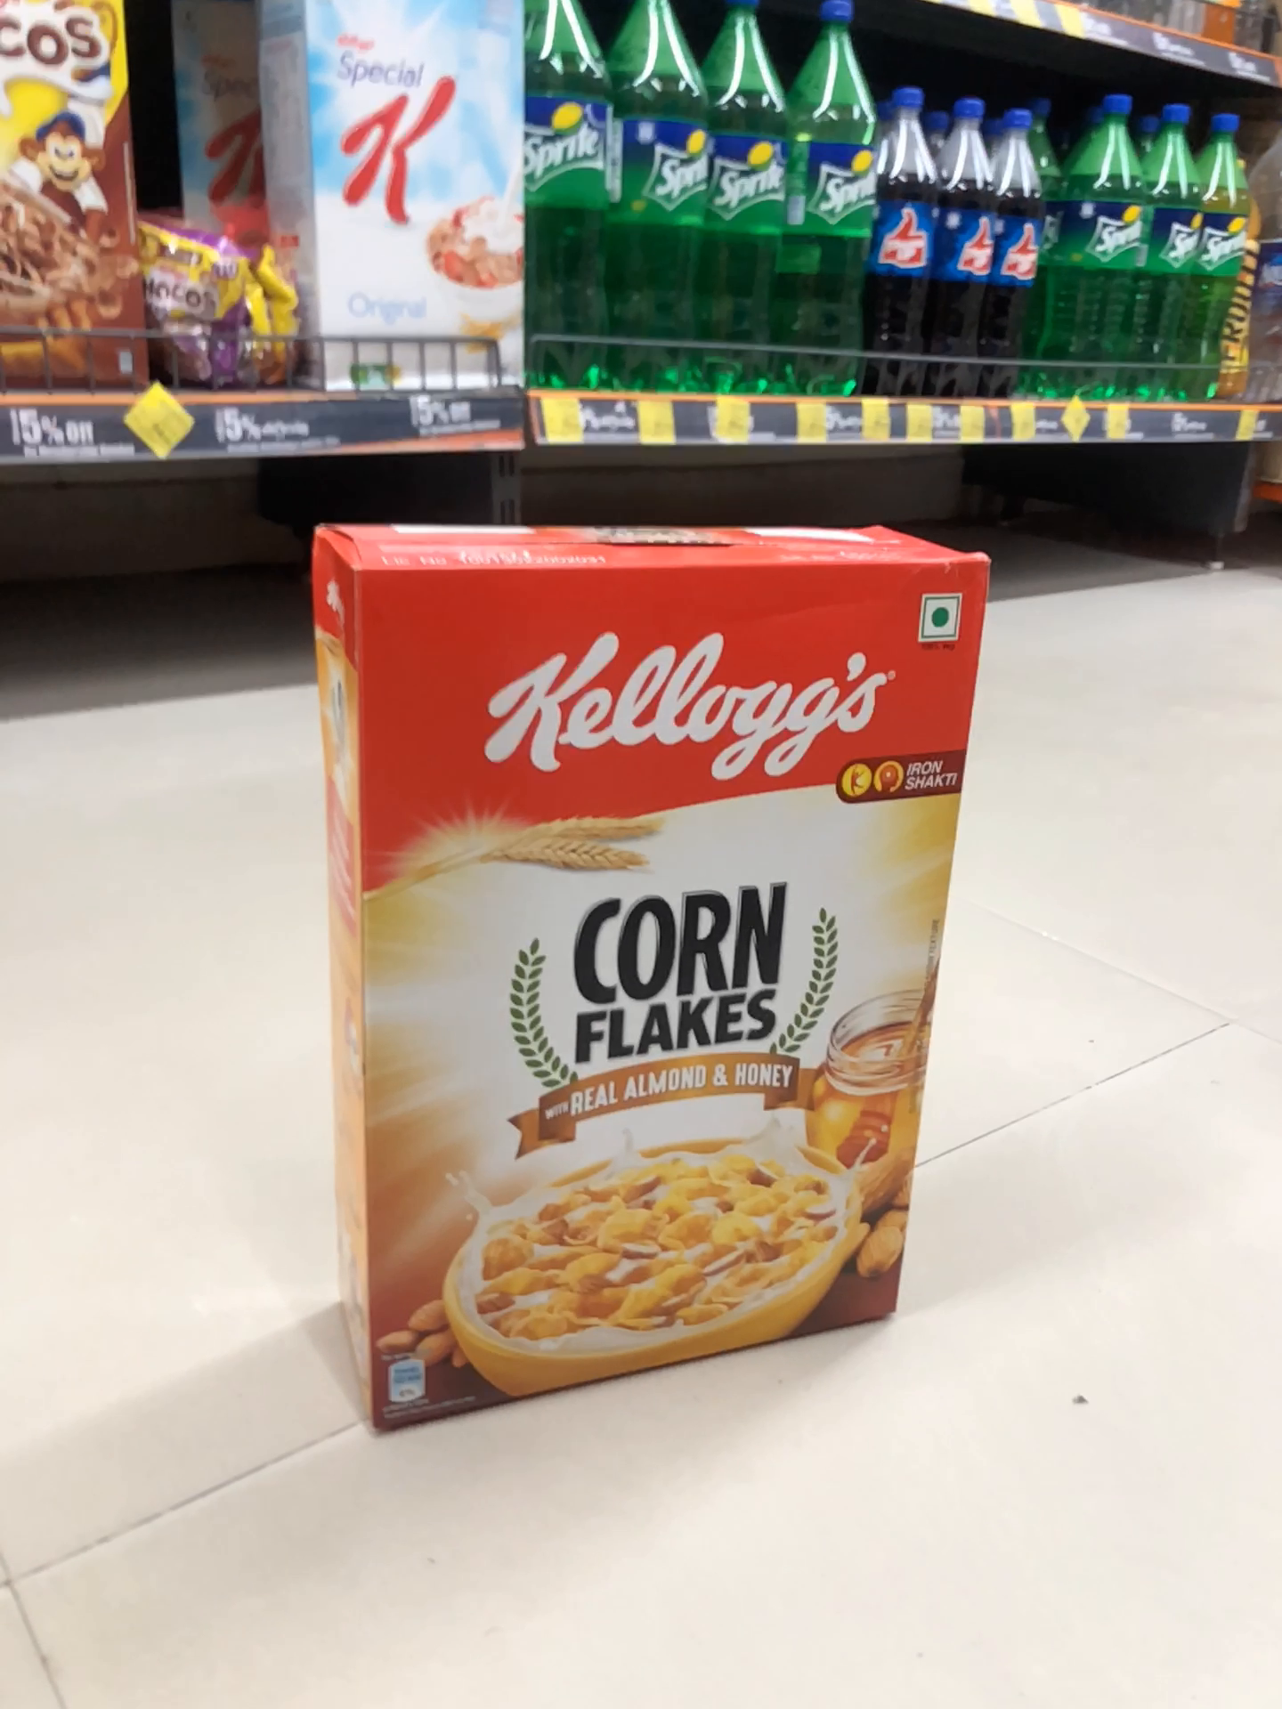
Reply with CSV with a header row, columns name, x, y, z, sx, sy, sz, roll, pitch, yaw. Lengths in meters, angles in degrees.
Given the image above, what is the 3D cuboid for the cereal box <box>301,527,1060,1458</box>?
name,x,y,z,sx,sy,sz,roll,pitch,yaw
cereal box,0.004,0.035,0.421,0.190,0.249,0.070,-5,22,-21
